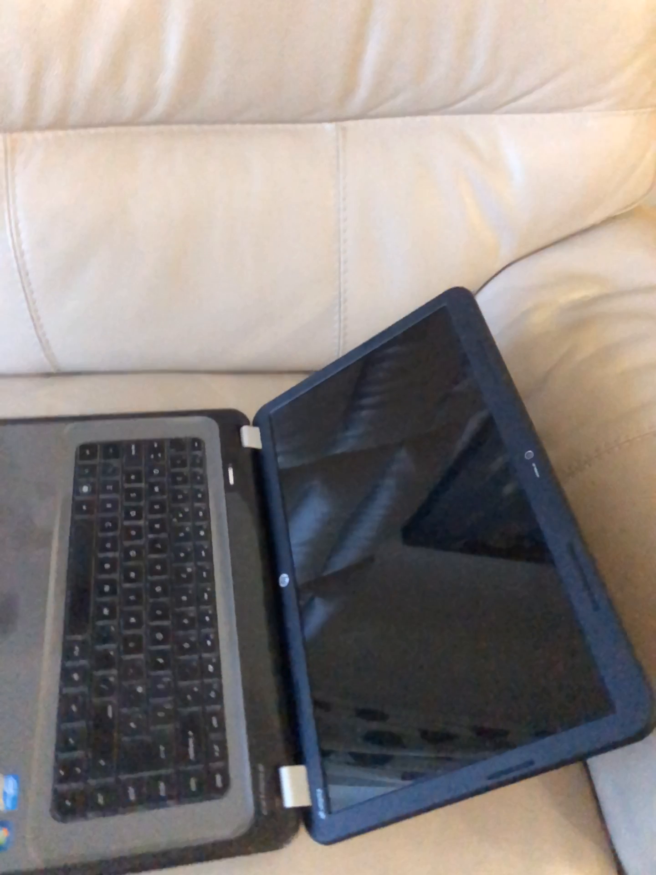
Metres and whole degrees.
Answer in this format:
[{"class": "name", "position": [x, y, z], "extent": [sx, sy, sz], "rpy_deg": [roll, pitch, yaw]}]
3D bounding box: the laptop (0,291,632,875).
[{"class": "laptop", "position": [-0.071, 0.075, 0.516], "extent": [0.424, 0.114, 0.359], "rpy_deg": [-6, 54, -8]}]
